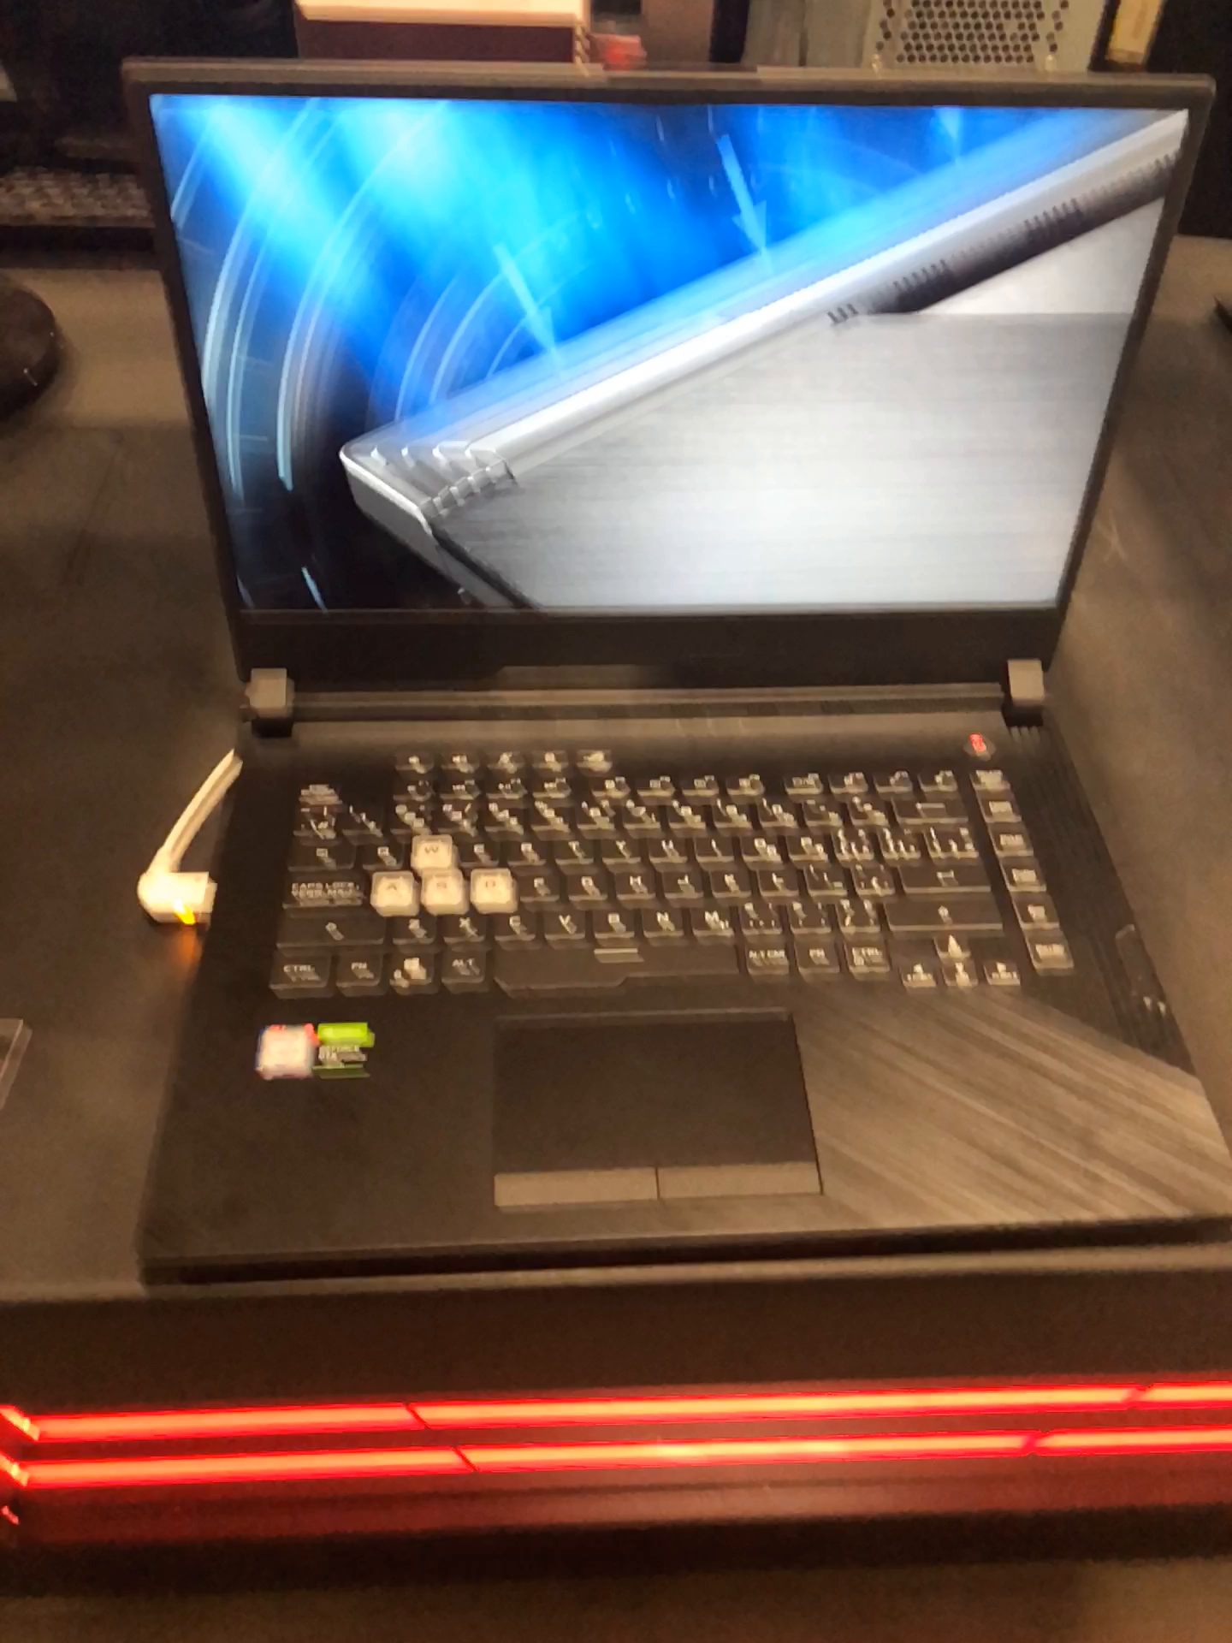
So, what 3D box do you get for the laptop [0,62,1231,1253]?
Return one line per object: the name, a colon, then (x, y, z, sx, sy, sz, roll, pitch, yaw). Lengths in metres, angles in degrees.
laptop: (0.024, -0.055, 0.429, 0.350, 0.243, 0.281, -1, 46, -4)
